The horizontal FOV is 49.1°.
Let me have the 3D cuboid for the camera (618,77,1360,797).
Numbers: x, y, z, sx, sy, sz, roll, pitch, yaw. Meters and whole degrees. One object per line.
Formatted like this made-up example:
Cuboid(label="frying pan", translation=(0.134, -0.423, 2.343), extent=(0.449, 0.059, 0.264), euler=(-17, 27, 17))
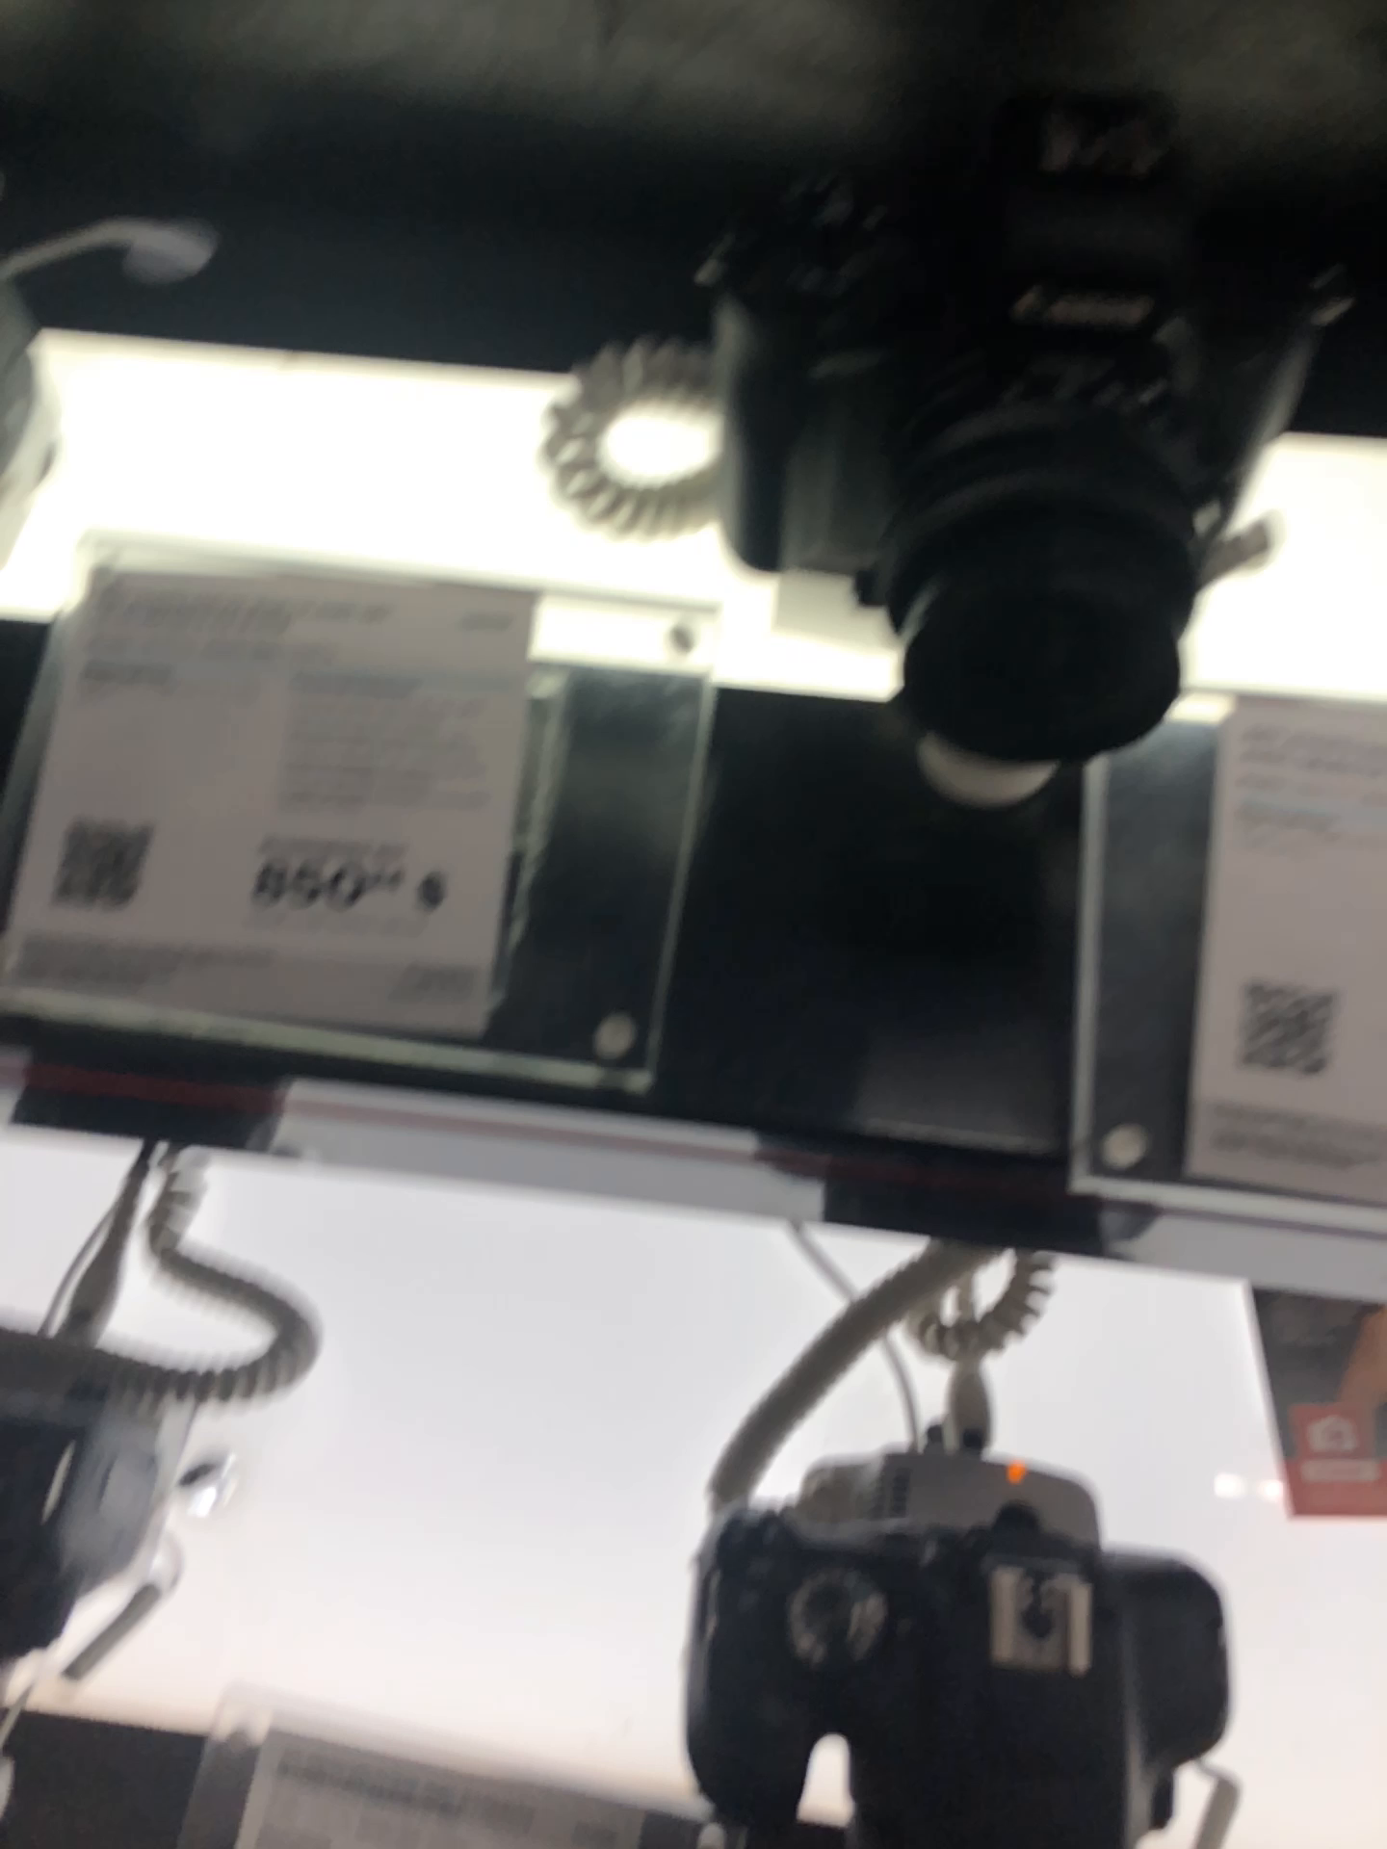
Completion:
Cuboid(label="camera", translation=(0.052, -0.098, 0.309), extent=(0.119, 0.089, 0.101), euler=(5, 56, 3))
